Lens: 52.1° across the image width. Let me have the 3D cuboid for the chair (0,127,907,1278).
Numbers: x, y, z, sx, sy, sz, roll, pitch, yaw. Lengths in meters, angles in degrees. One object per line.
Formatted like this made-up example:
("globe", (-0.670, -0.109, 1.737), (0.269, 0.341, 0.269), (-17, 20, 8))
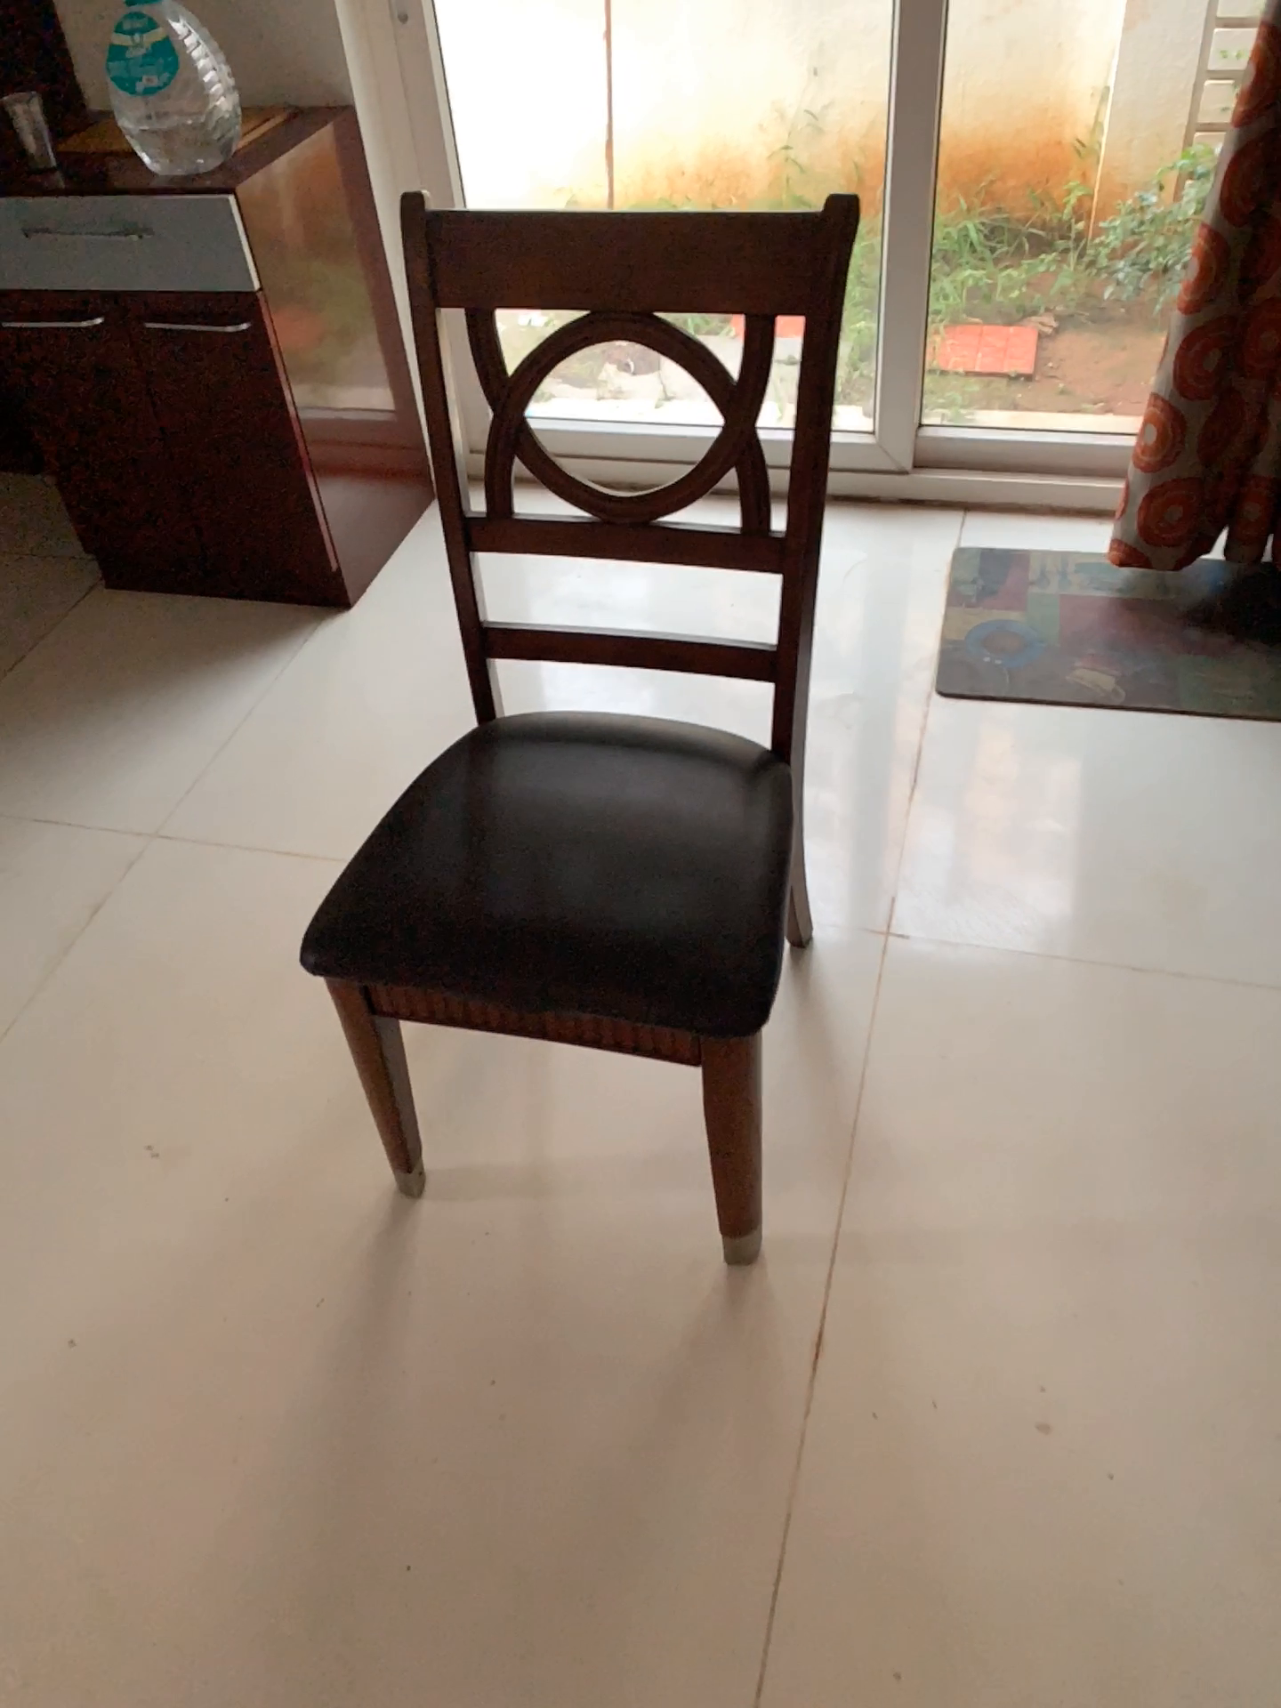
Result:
("chair", (-0.061, -0.123, 1.436), (0.571, 1.026, 0.642), (7, 48, 14))
